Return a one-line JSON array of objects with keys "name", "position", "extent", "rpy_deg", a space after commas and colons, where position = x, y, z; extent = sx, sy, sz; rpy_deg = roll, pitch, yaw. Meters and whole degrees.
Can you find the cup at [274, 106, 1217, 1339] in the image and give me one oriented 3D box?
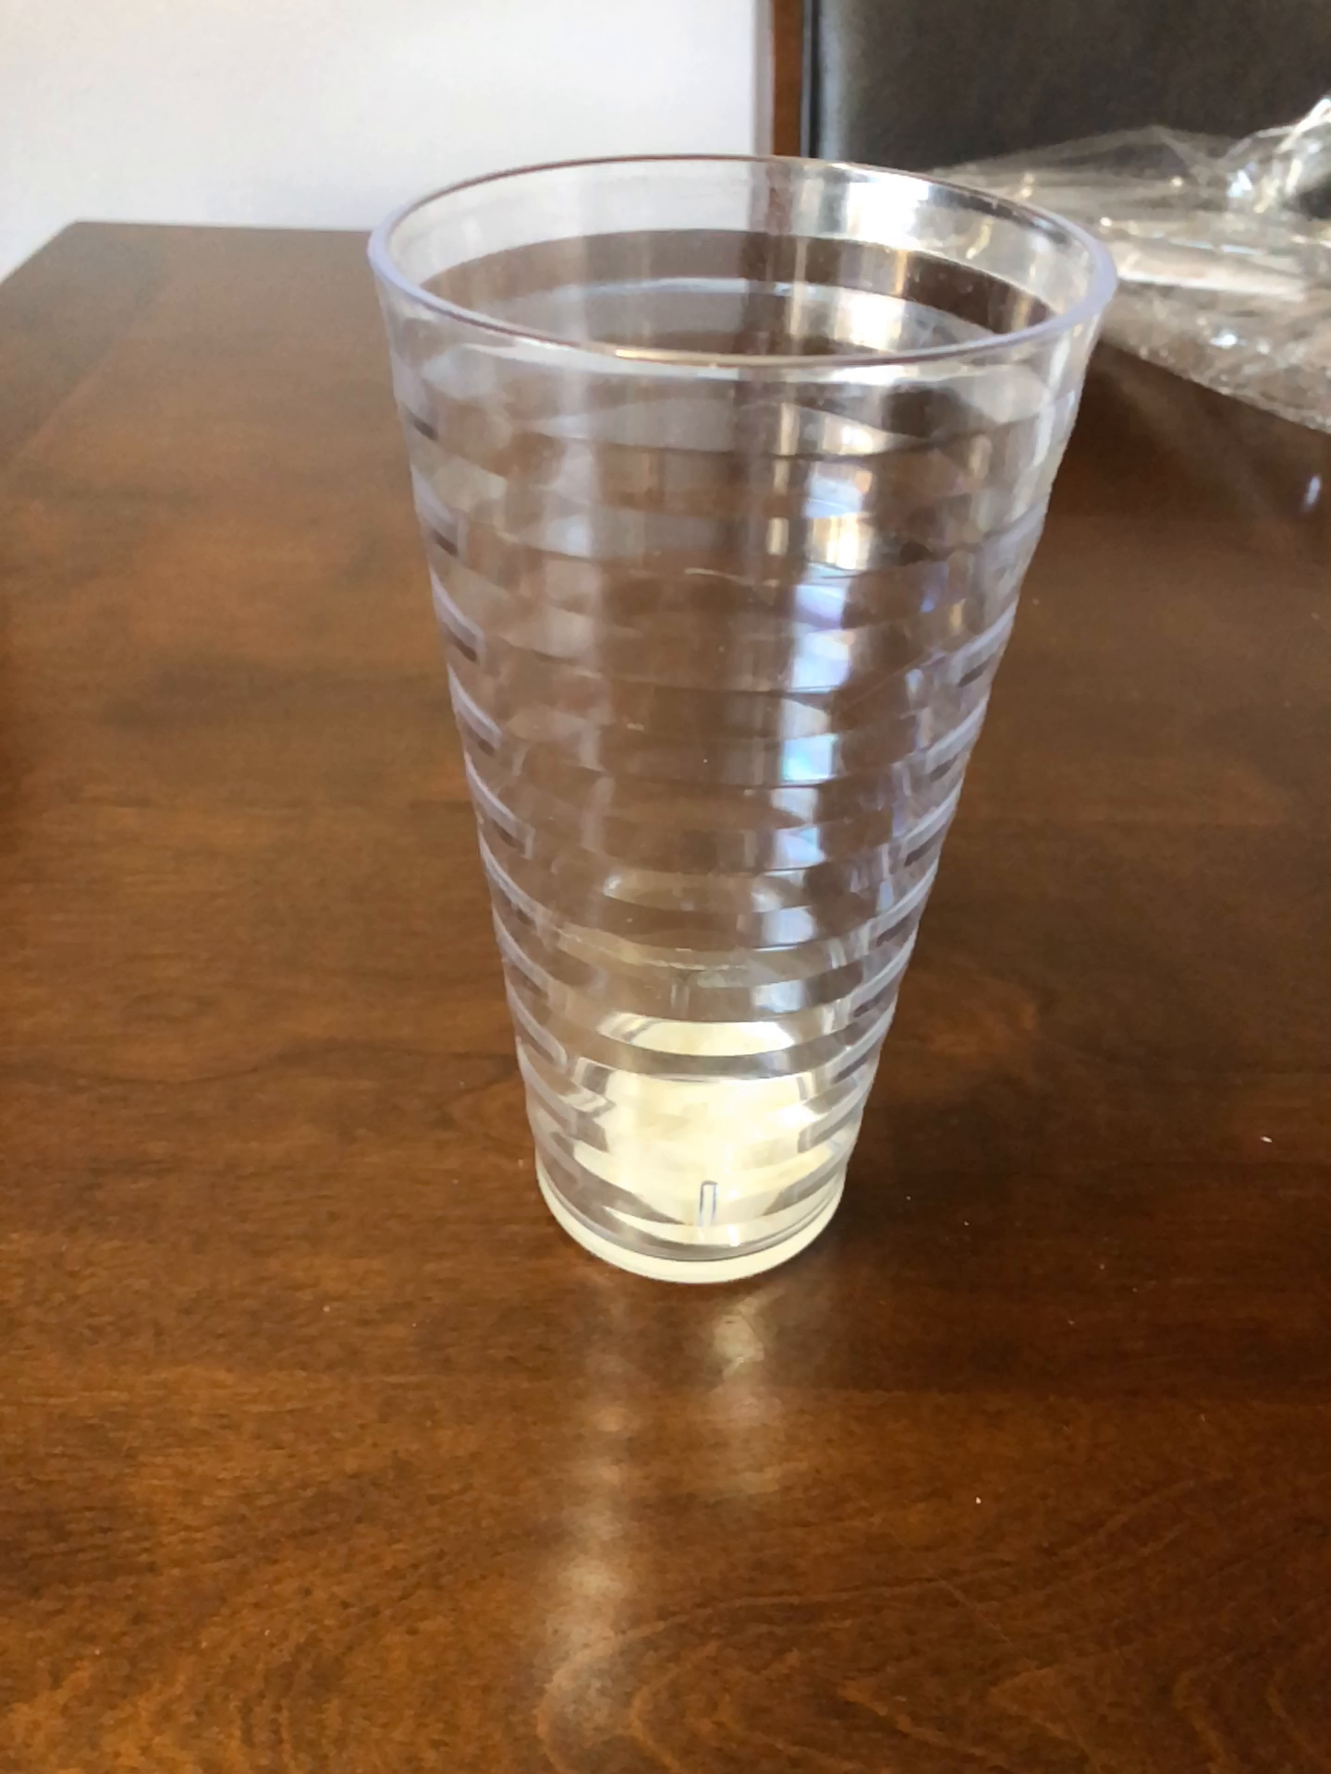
[{"name": "cup", "position": [0.007, -0.021, 0.252], "extent": [0.100, 0.179, 0.100], "rpy_deg": [1, 38, -1]}]
